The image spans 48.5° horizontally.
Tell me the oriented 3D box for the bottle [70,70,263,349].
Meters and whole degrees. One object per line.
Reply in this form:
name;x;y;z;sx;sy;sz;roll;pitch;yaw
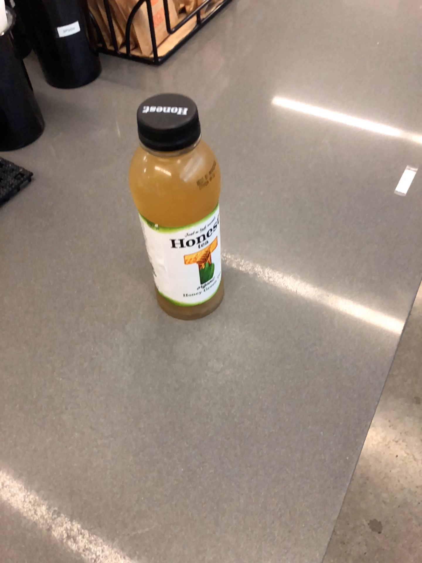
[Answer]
bottle;-0.025;-0.047;0.381;0.090;0.189;0.090;-2;53;3
